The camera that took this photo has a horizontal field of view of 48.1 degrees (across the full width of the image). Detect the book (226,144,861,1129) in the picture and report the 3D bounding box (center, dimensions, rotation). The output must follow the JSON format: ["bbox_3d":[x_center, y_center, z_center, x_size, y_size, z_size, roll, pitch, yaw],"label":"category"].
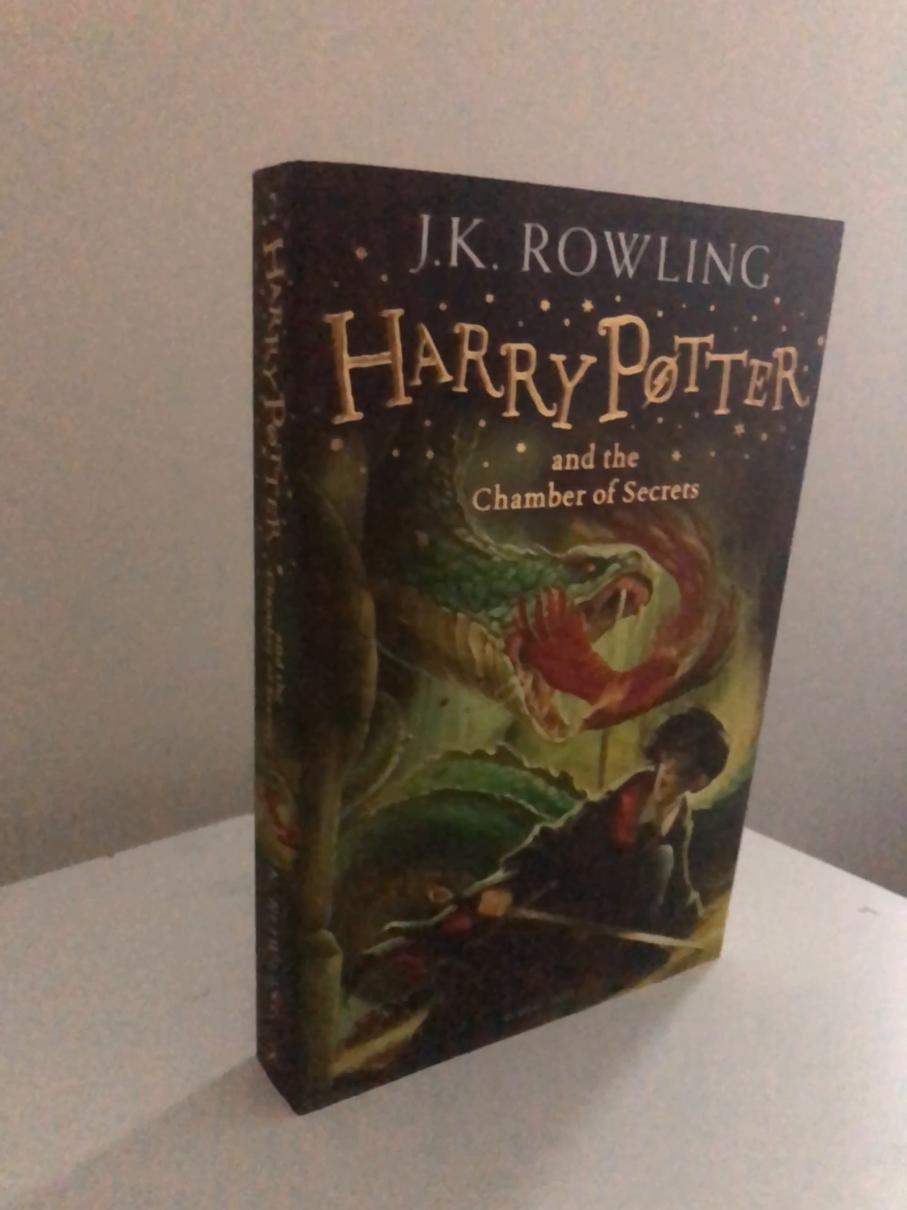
[{"bbox_3d":[0.017,0.007,0.234,0.130,0.190,0.039,-7,20,-30],"label":"book"}]
